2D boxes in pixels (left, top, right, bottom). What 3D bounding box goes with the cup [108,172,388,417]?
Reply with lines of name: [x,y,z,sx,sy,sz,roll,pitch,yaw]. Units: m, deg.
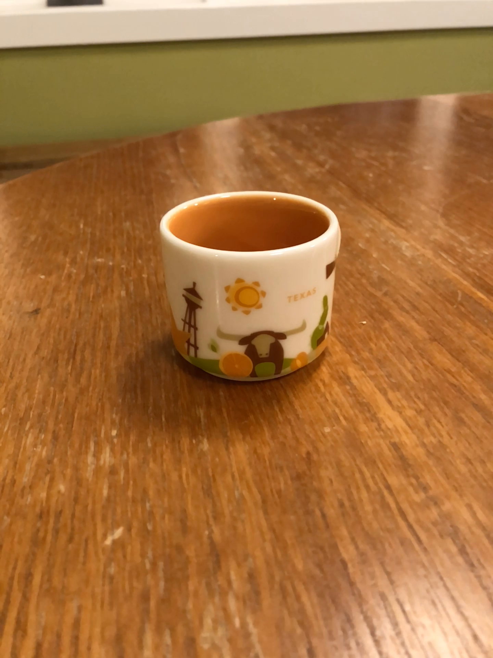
cup: [0.003,-0.019,0.204,0.059,0.049,0.080,24,40,35]
